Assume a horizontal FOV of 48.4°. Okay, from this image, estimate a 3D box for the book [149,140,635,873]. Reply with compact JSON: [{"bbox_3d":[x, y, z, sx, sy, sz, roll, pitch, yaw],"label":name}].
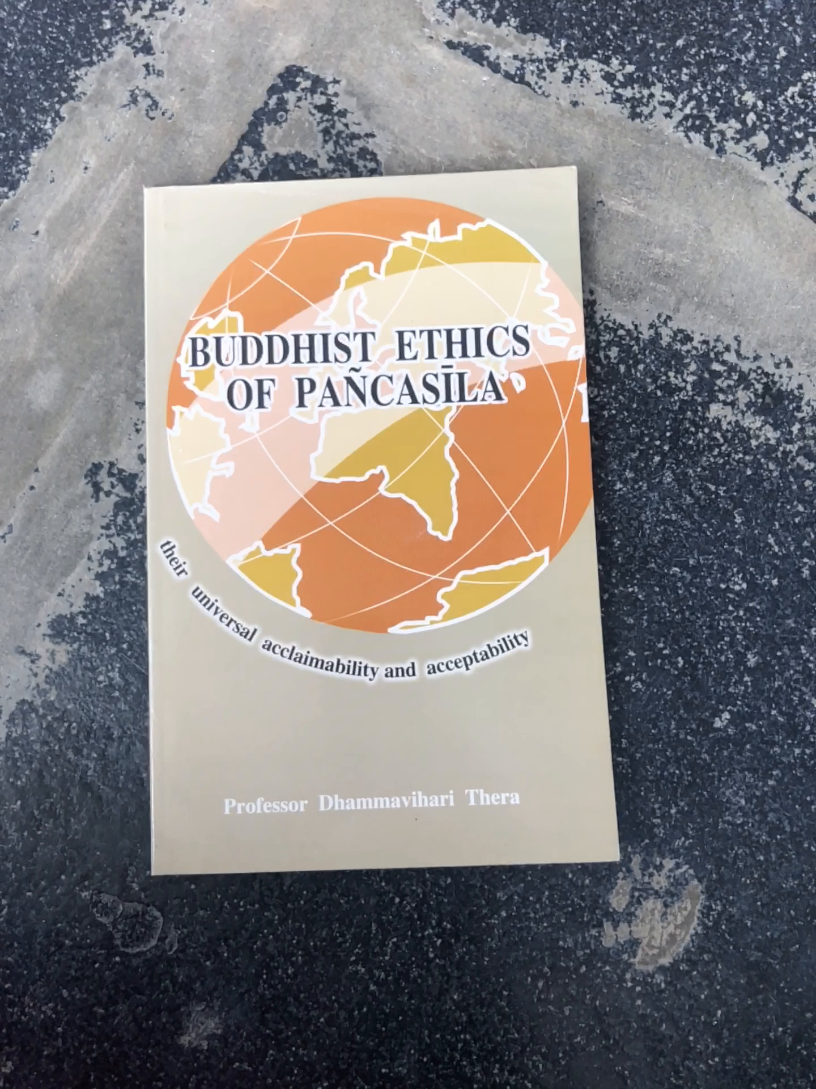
[{"bbox_3d":[-0.007,-0.016,0.279,0.140,0.010,0.220,-2,83,-1],"label":"book"}]
